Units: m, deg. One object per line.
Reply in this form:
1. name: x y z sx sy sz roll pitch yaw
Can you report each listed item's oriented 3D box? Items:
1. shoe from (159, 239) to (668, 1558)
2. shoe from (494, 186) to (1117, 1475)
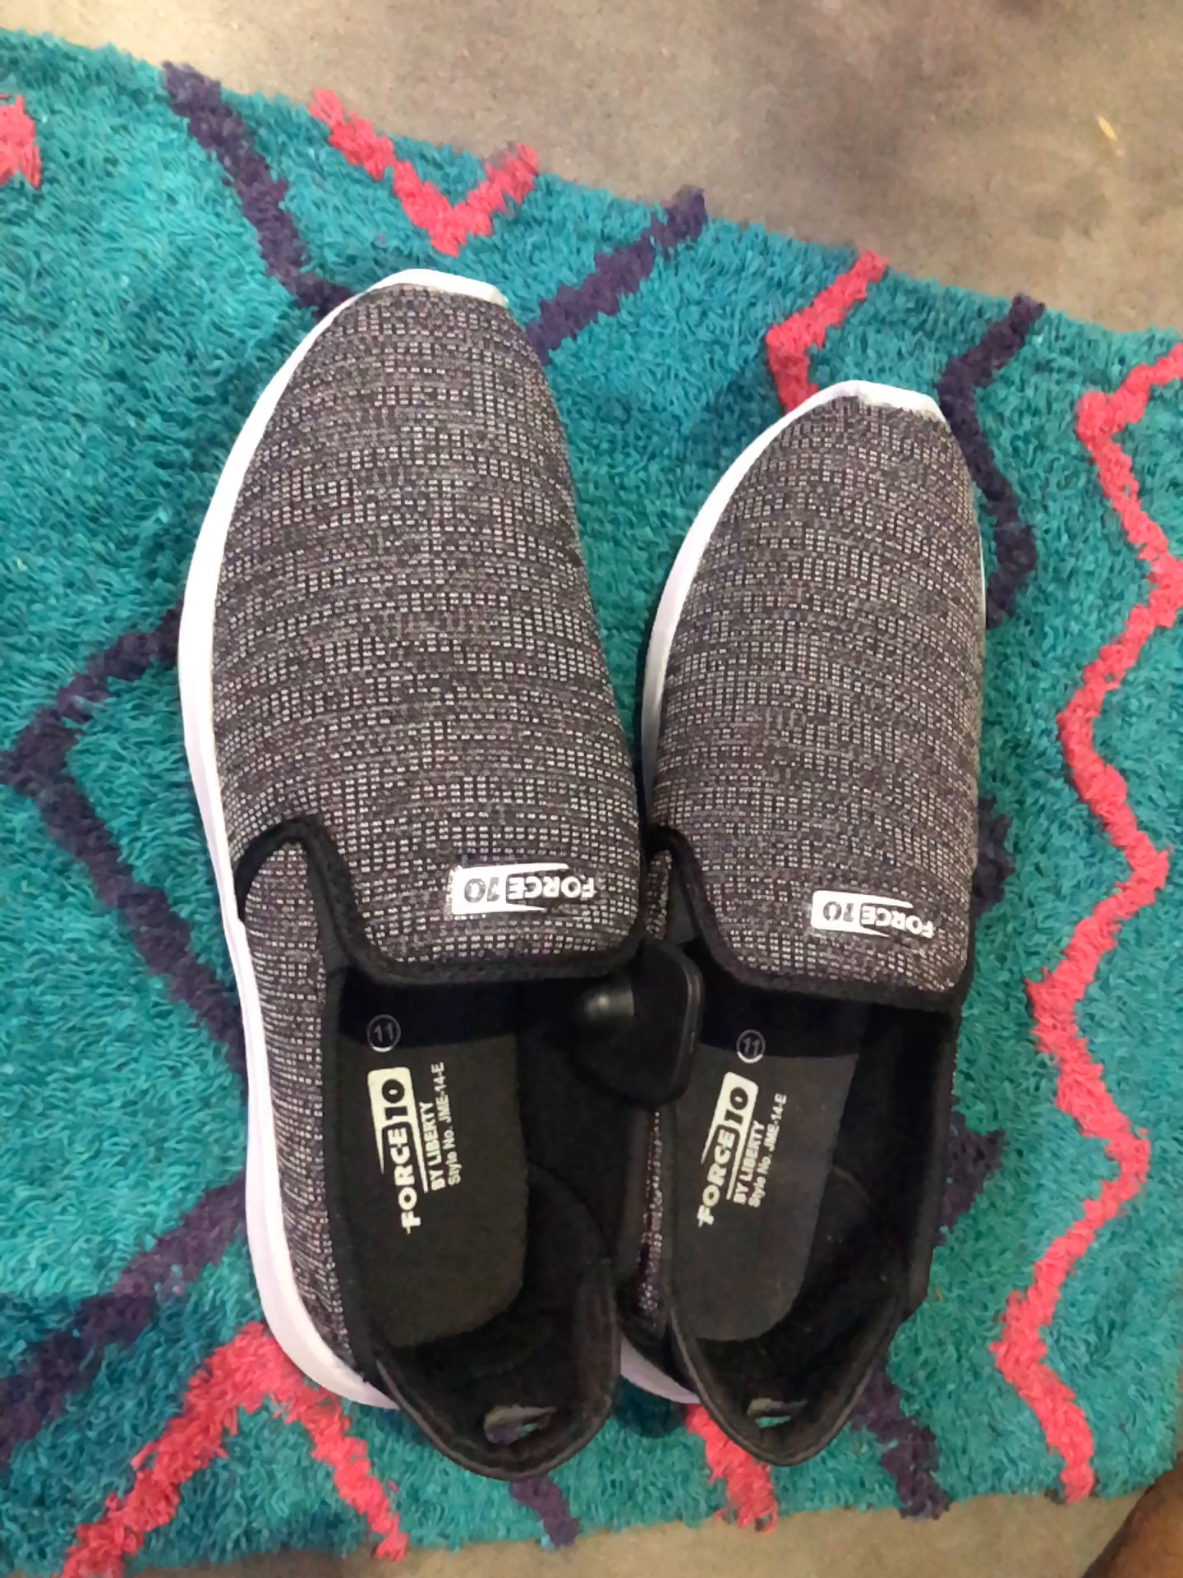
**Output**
1. shoe: -0.055 0.023 0.363 0.110 0.100 0.300 -2 90 -18
2. shoe: 0.060 0.015 0.396 0.110 0.100 0.330 10 86 -18
